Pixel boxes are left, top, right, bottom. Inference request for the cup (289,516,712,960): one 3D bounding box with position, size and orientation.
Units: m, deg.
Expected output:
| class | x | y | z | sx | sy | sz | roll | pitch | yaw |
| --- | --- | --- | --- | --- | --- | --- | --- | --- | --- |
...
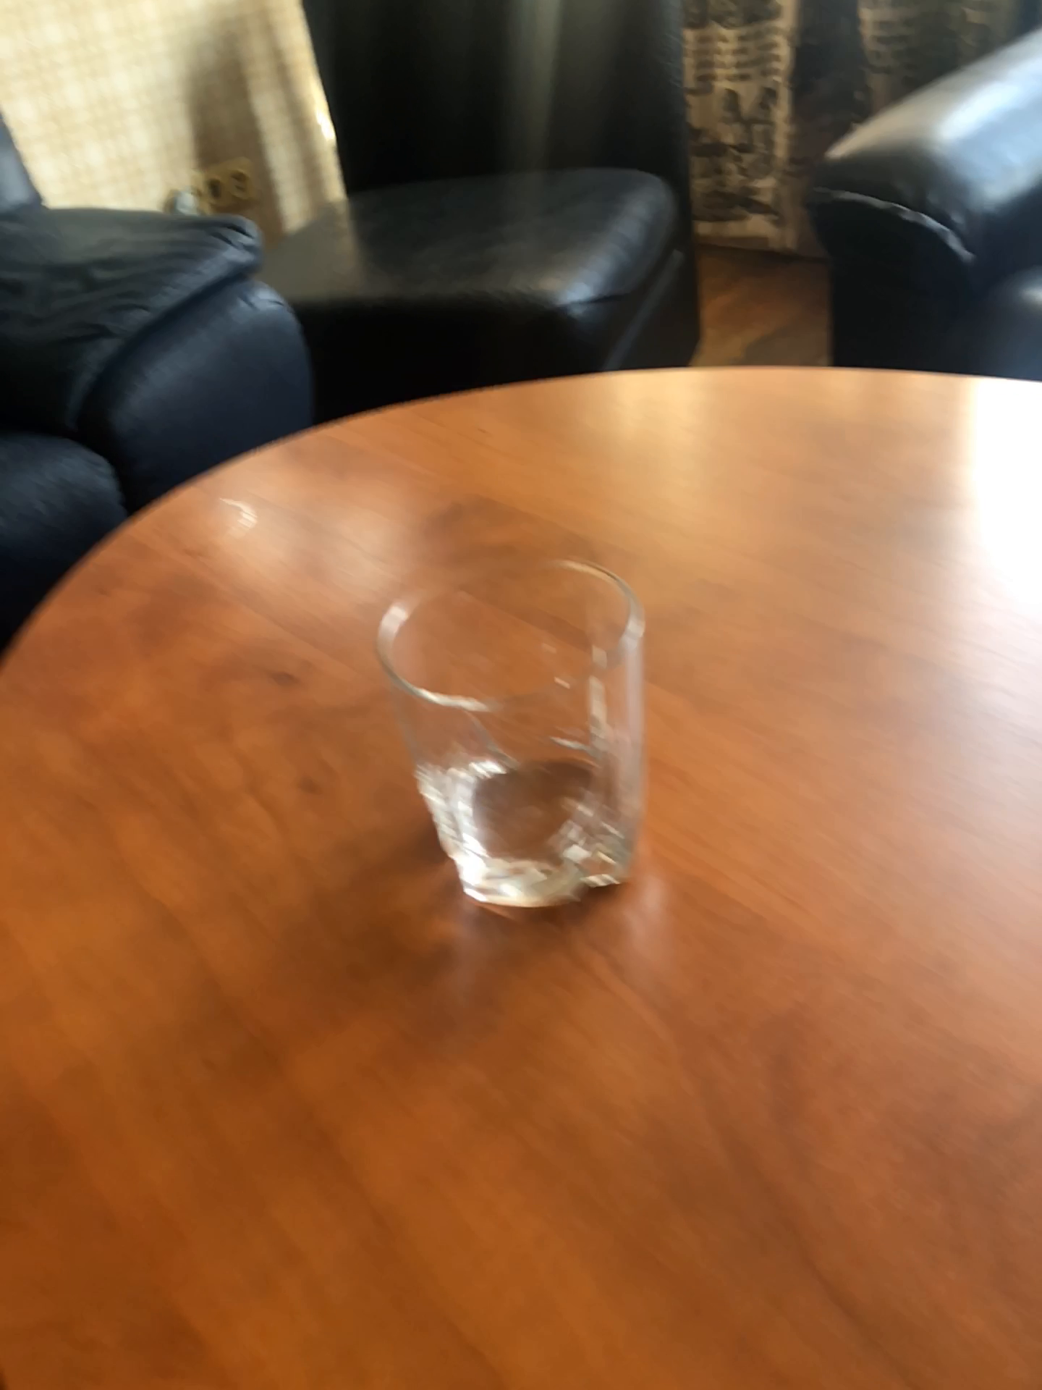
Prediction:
| class | x | y | z | sx | sy | sz | roll | pitch | yaw |
| --- | --- | --- | --- | --- | --- | --- | --- | --- | --- |
| cup | 0.000 | 0.009 | 0.367 | 0.089 | 0.086 | 0.095 | -7 | 36 | 5 |
